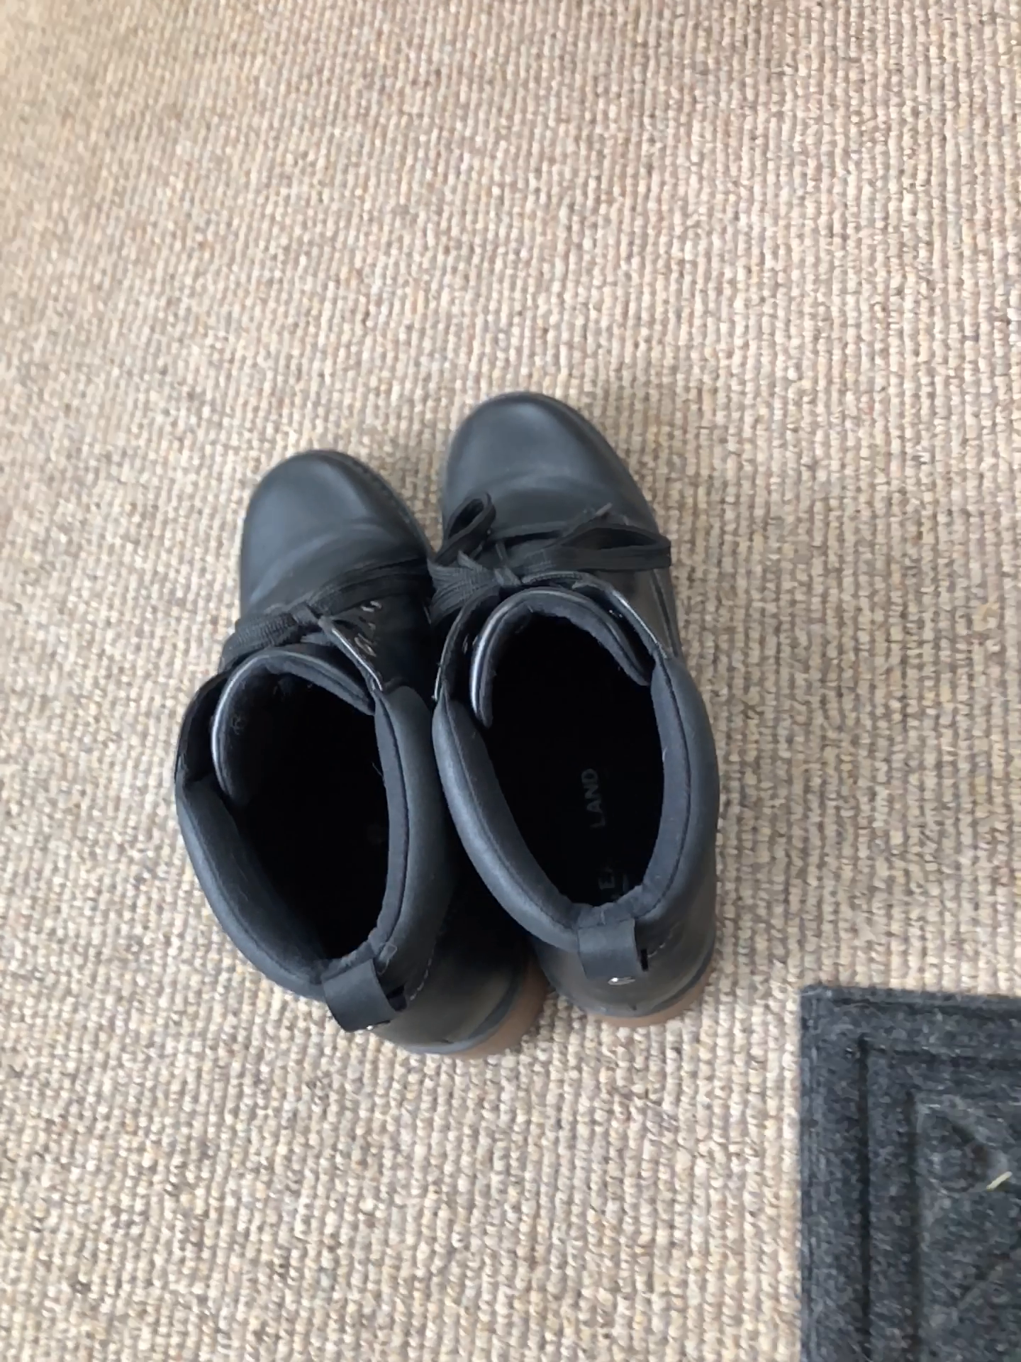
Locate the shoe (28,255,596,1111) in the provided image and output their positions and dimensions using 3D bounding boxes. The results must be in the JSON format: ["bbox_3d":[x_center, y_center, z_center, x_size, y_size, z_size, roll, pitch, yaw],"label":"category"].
[{"bbox_3d":[-0.069,0.009,0.433,0.097,0.166,0.267,-22,68,3],"label":"shoe"}]

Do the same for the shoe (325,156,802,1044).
[{"bbox_3d":[0.019,-0.017,0.420,0.094,0.162,0.273,-13,69,6],"label":"shoe"}]
